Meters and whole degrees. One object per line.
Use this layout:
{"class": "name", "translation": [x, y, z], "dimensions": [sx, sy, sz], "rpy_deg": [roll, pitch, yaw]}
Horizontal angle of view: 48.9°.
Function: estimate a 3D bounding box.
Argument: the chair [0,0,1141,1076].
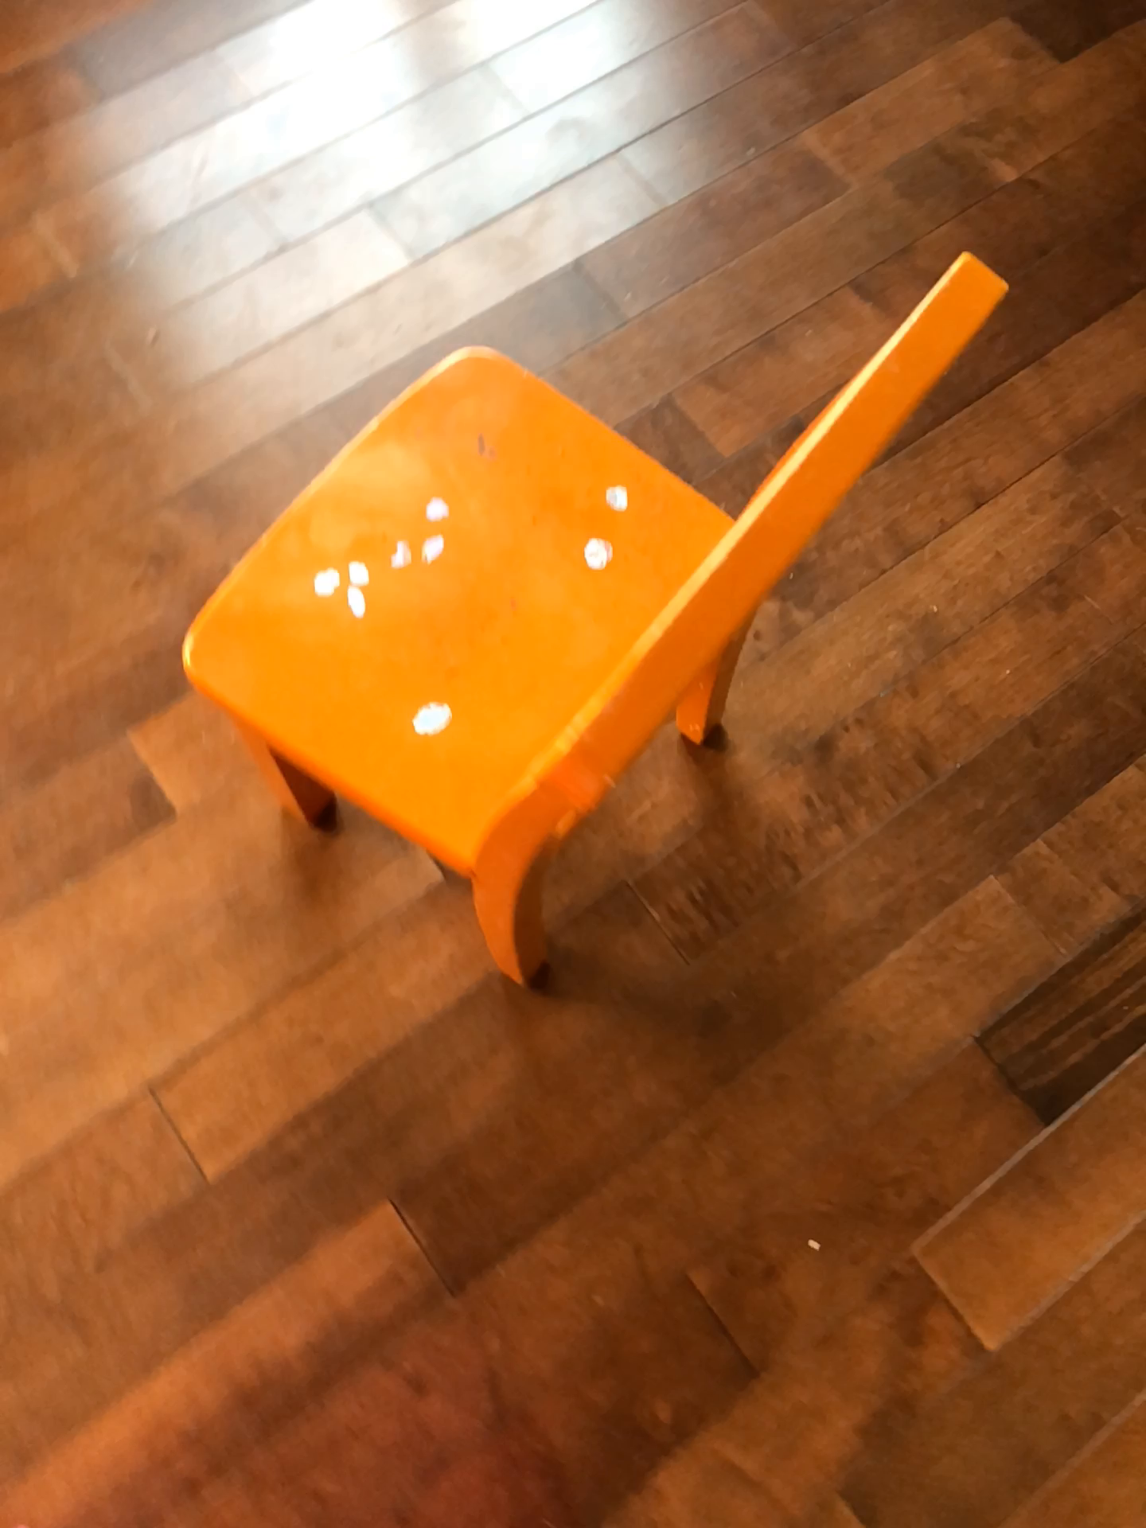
{"class": "chair", "translation": [-0.029, -0.101, 0.756], "dimensions": [0.350, 0.570, 0.360], "rpy_deg": [36, 72, 10]}
